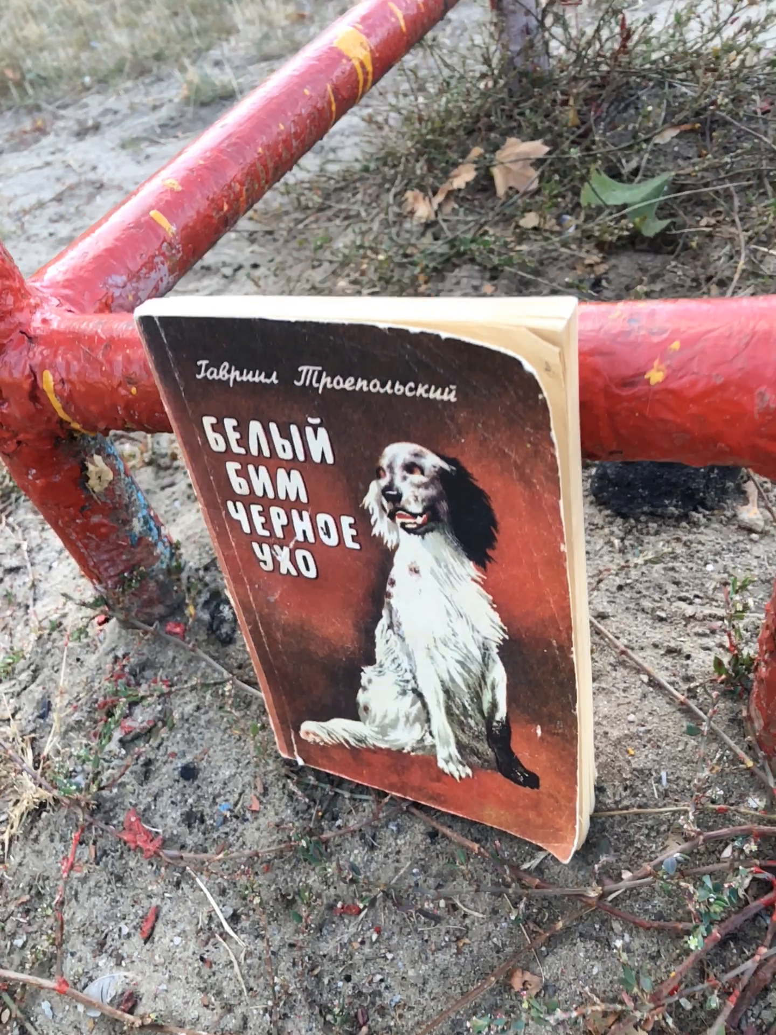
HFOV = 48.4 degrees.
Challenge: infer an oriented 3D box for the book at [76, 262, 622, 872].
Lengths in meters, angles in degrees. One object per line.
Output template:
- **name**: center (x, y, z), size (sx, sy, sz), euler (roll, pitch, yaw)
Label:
- **book**: center (0.000, 0.021, 0.266), size (0.130, 0.196, 0.030), euler (9, 42, 28)
